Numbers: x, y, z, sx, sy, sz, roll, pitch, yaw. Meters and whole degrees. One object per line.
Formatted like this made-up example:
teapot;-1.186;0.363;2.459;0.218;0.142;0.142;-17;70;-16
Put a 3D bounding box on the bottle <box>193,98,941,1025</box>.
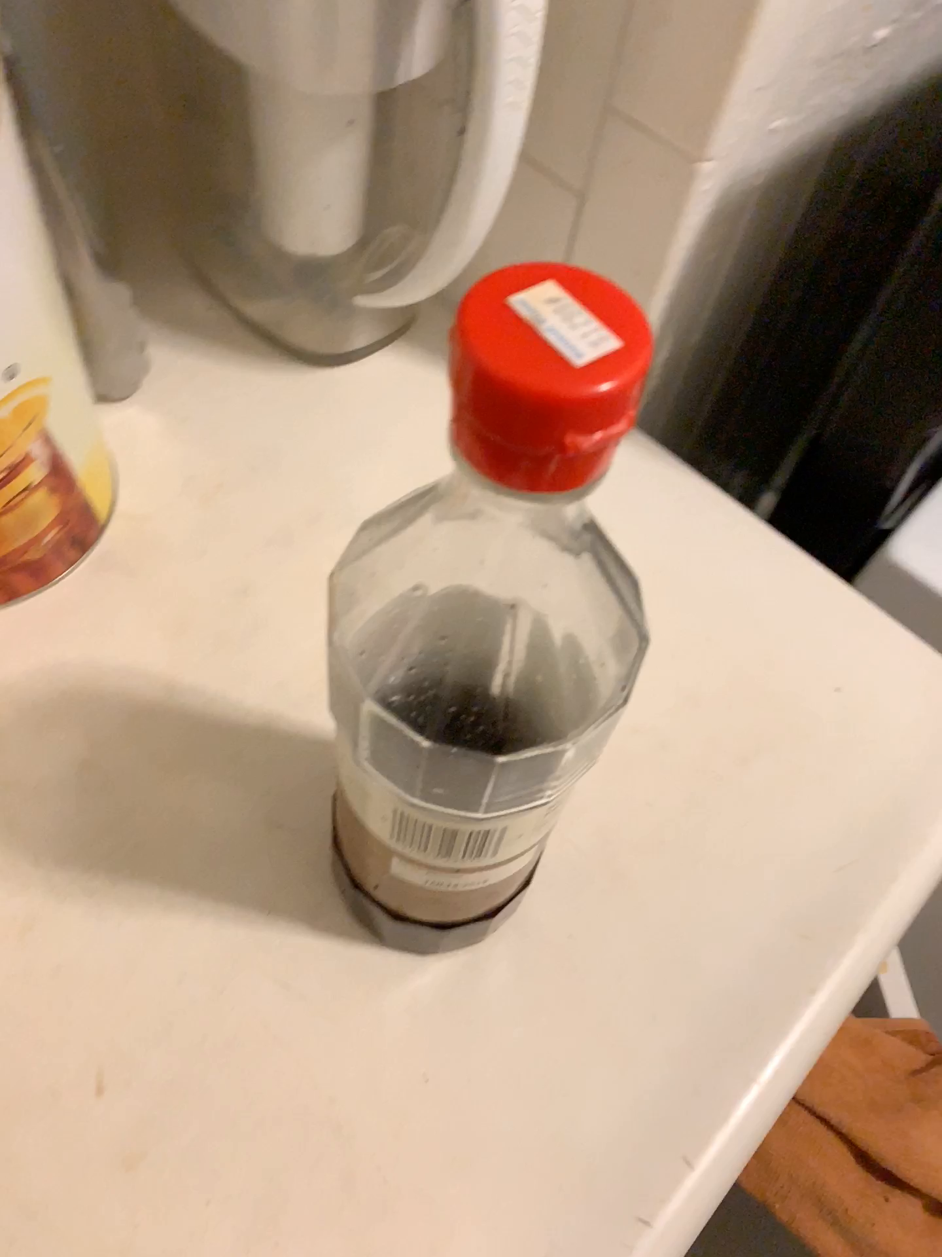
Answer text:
bottle;0.004;0.018;0.267;0.090;0.259;0.090;4;58;-6
